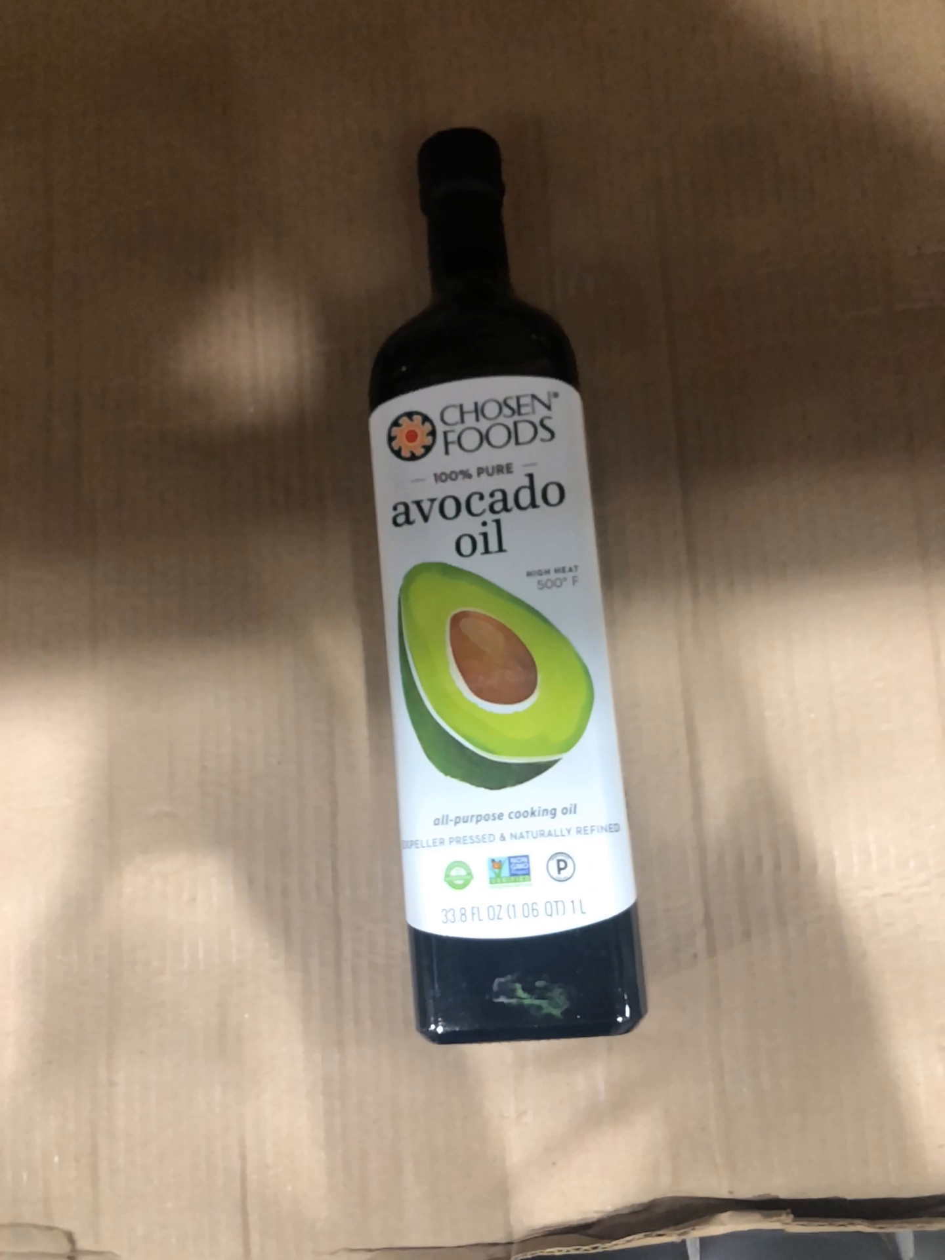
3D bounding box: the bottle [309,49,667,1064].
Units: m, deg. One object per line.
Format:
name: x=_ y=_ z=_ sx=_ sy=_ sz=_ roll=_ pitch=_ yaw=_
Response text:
bottle: x=0.005 y=-0.028 z=0.369 sx=0.086 sy=0.074 sz=0.320 roll=-6 pitch=80 yaw=7
